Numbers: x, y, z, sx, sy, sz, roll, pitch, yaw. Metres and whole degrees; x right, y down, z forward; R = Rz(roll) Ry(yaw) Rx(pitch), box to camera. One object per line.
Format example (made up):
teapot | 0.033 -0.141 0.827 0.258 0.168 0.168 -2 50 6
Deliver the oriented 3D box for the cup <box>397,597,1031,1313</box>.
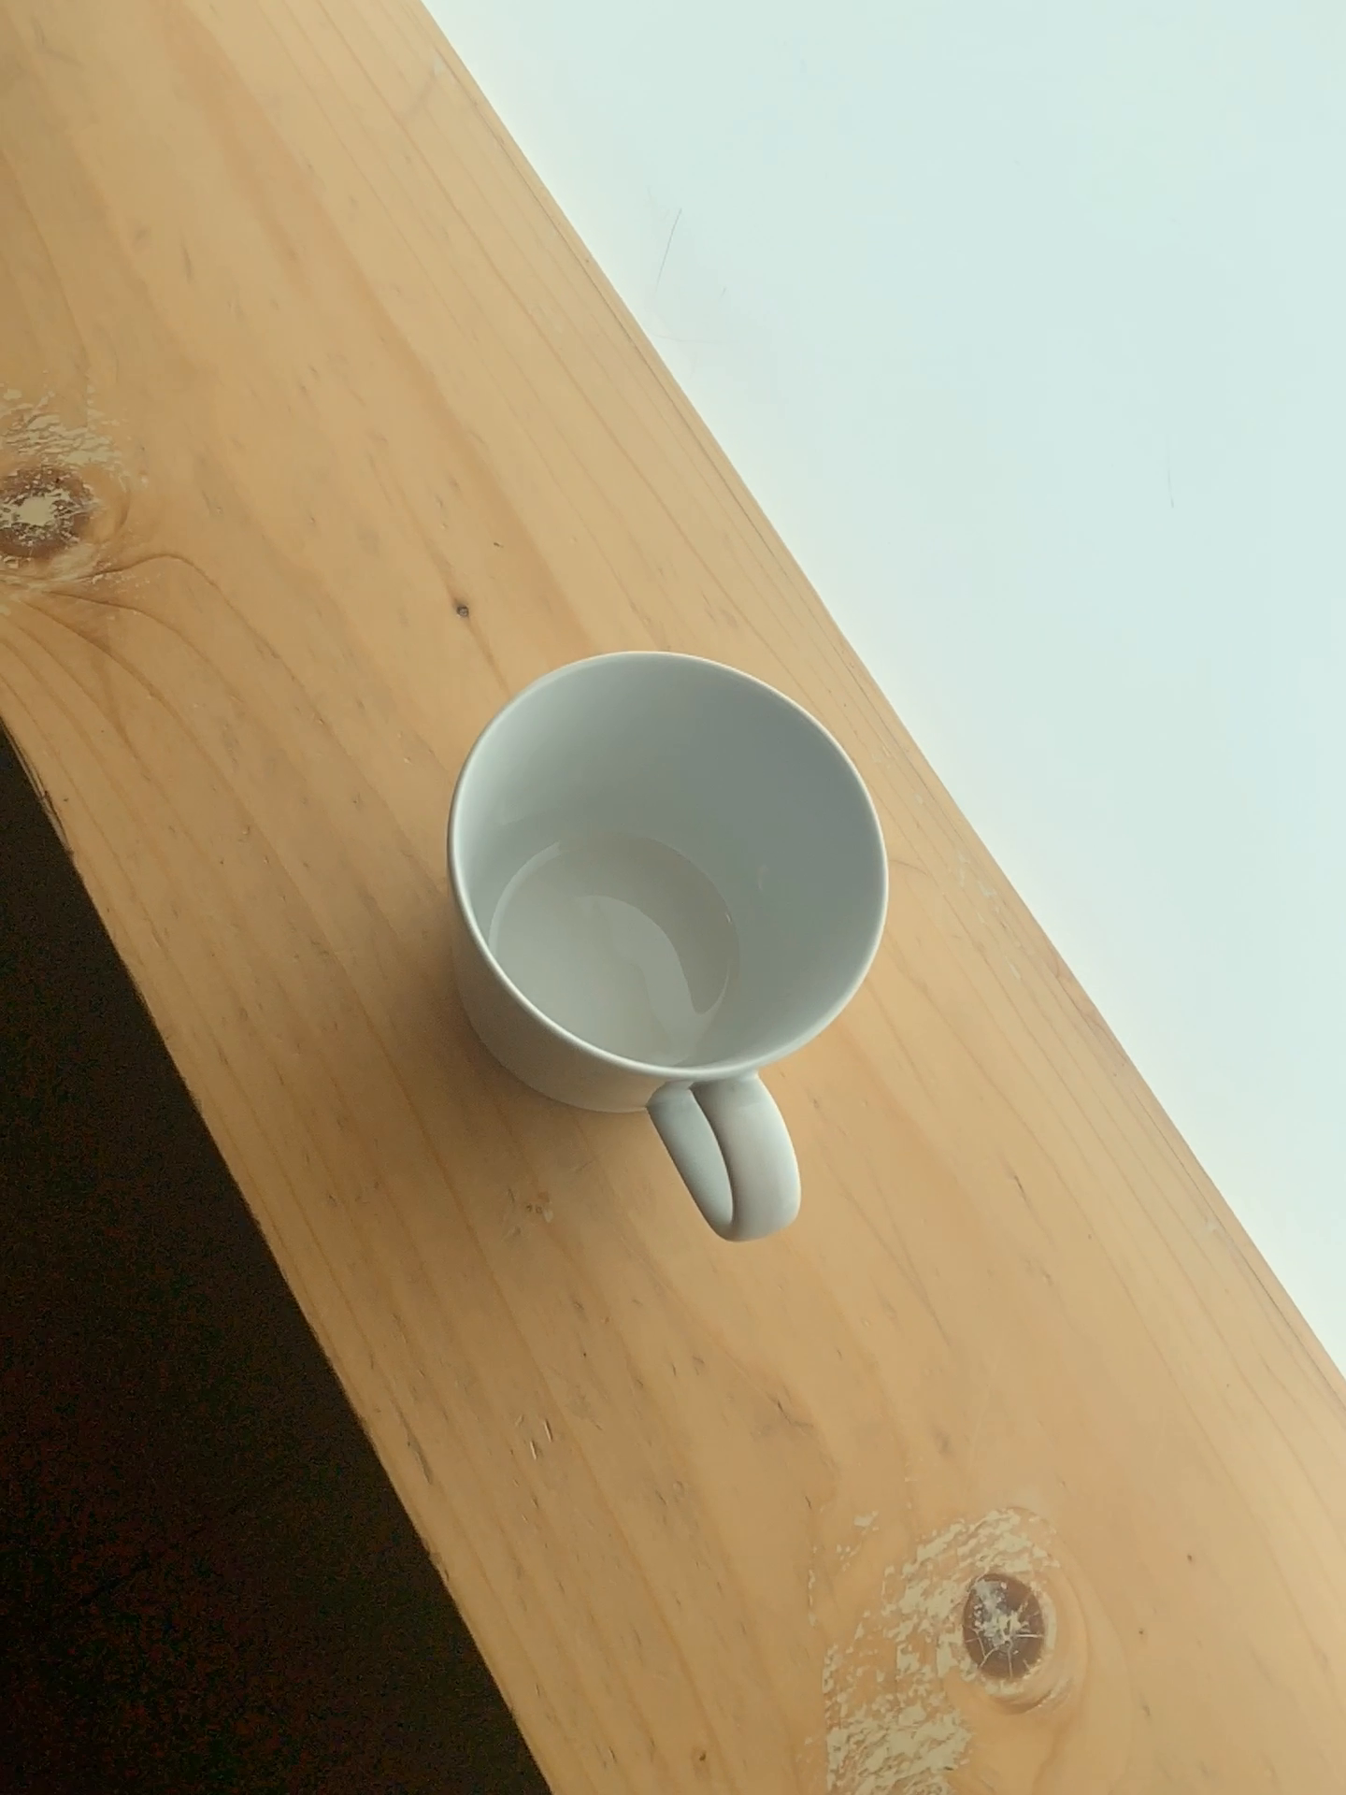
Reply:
cup | 0.001 0.015 0.328 0.090 0.080 0.130 -19 75 -19
